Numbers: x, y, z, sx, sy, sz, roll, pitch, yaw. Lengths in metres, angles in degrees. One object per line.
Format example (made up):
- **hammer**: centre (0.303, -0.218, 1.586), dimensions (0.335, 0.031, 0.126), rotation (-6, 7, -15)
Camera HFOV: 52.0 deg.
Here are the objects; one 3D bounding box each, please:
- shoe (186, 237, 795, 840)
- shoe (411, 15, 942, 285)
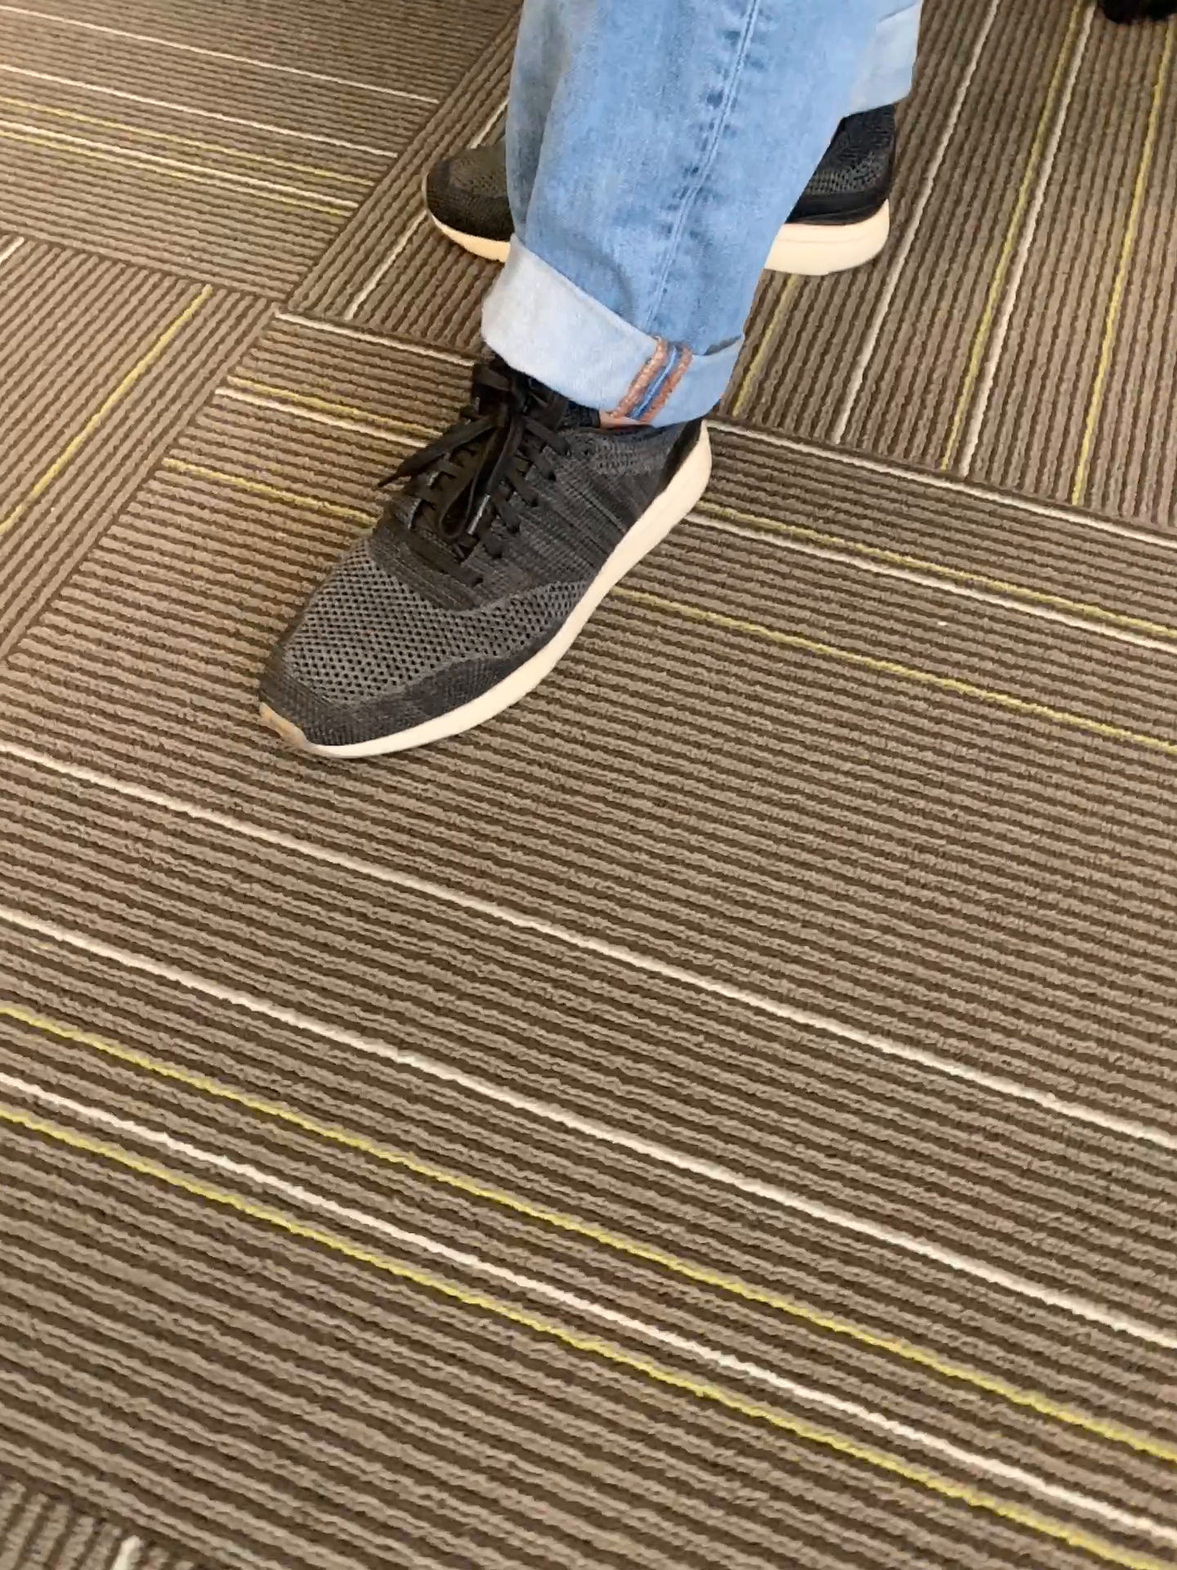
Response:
- **shoe**: centre (-0.035, -0.134, 0.611), dimensions (0.112, 0.106, 0.307), rotation (34, 64, 18)
- **shoe**: centre (0.051, -0.403, 0.770), dimensions (0.306, 0.106, 0.110), rotation (1, 59, 0)
